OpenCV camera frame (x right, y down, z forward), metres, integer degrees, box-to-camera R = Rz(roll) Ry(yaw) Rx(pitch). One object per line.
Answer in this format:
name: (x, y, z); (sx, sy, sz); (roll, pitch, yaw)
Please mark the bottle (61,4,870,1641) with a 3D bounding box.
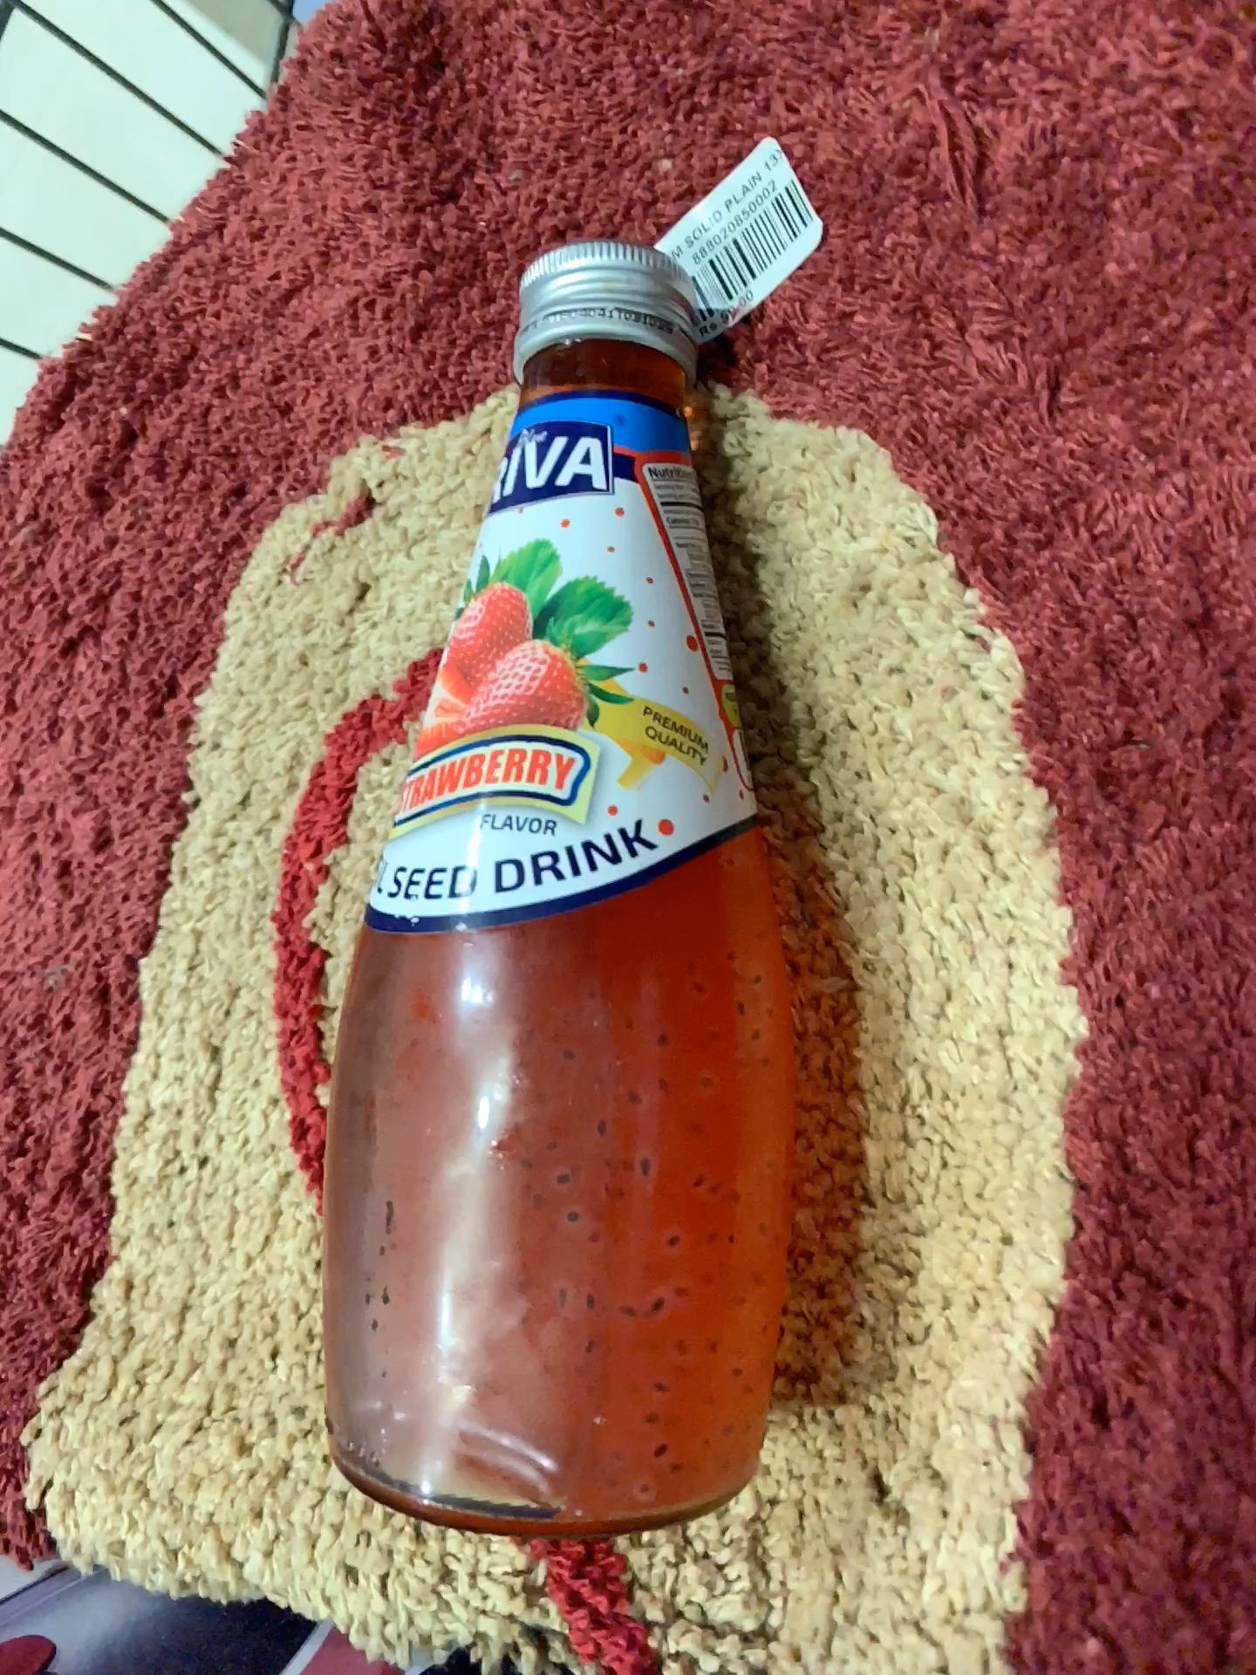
bottle: (-0.016, -0.004, 0.165); (0.070, 0.050, 0.160); (0, 80, 31)
